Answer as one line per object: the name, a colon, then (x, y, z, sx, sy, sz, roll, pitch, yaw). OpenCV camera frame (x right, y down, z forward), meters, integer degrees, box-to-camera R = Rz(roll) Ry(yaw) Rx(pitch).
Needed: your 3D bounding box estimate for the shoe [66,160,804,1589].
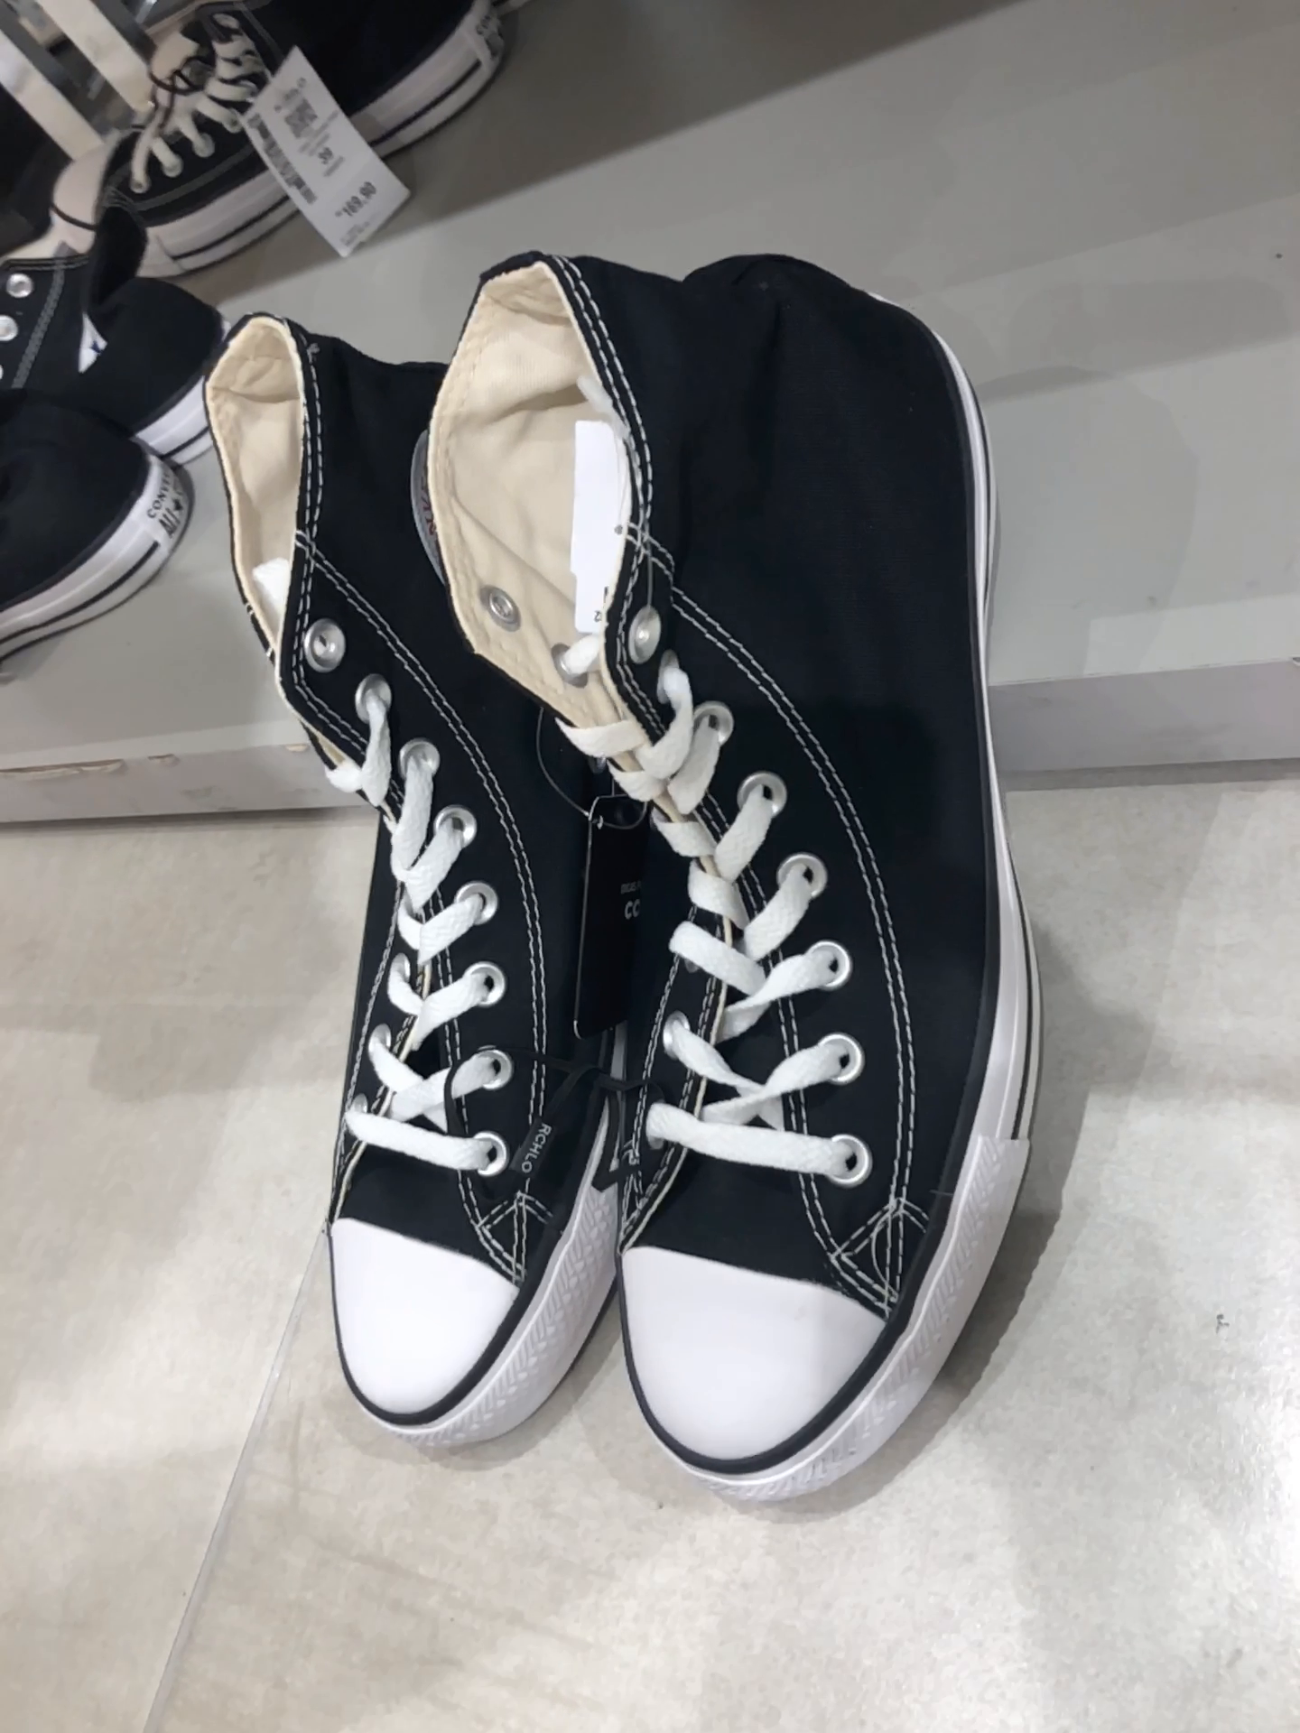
shoe: (-0.054, 0.001, 0.403, 0.120, 0.139, 0.310, 2, 87, 36)

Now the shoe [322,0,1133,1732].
shoe: (0.027, -0.013, 0.331, 0.120, 0.140, 0.330, 0, 86, 35)
